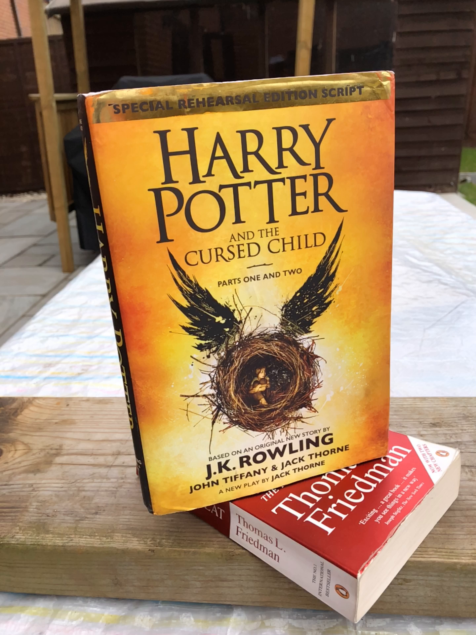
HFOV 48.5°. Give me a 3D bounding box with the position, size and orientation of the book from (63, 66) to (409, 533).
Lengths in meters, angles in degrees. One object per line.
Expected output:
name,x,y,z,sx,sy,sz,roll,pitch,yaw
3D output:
book,0.007,-0.009,0.304,0.170,0.239,0.040,-8,18,-14

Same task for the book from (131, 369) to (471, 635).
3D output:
book,0.038,0.104,0.366,0.190,0.040,0.130,17,29,42
